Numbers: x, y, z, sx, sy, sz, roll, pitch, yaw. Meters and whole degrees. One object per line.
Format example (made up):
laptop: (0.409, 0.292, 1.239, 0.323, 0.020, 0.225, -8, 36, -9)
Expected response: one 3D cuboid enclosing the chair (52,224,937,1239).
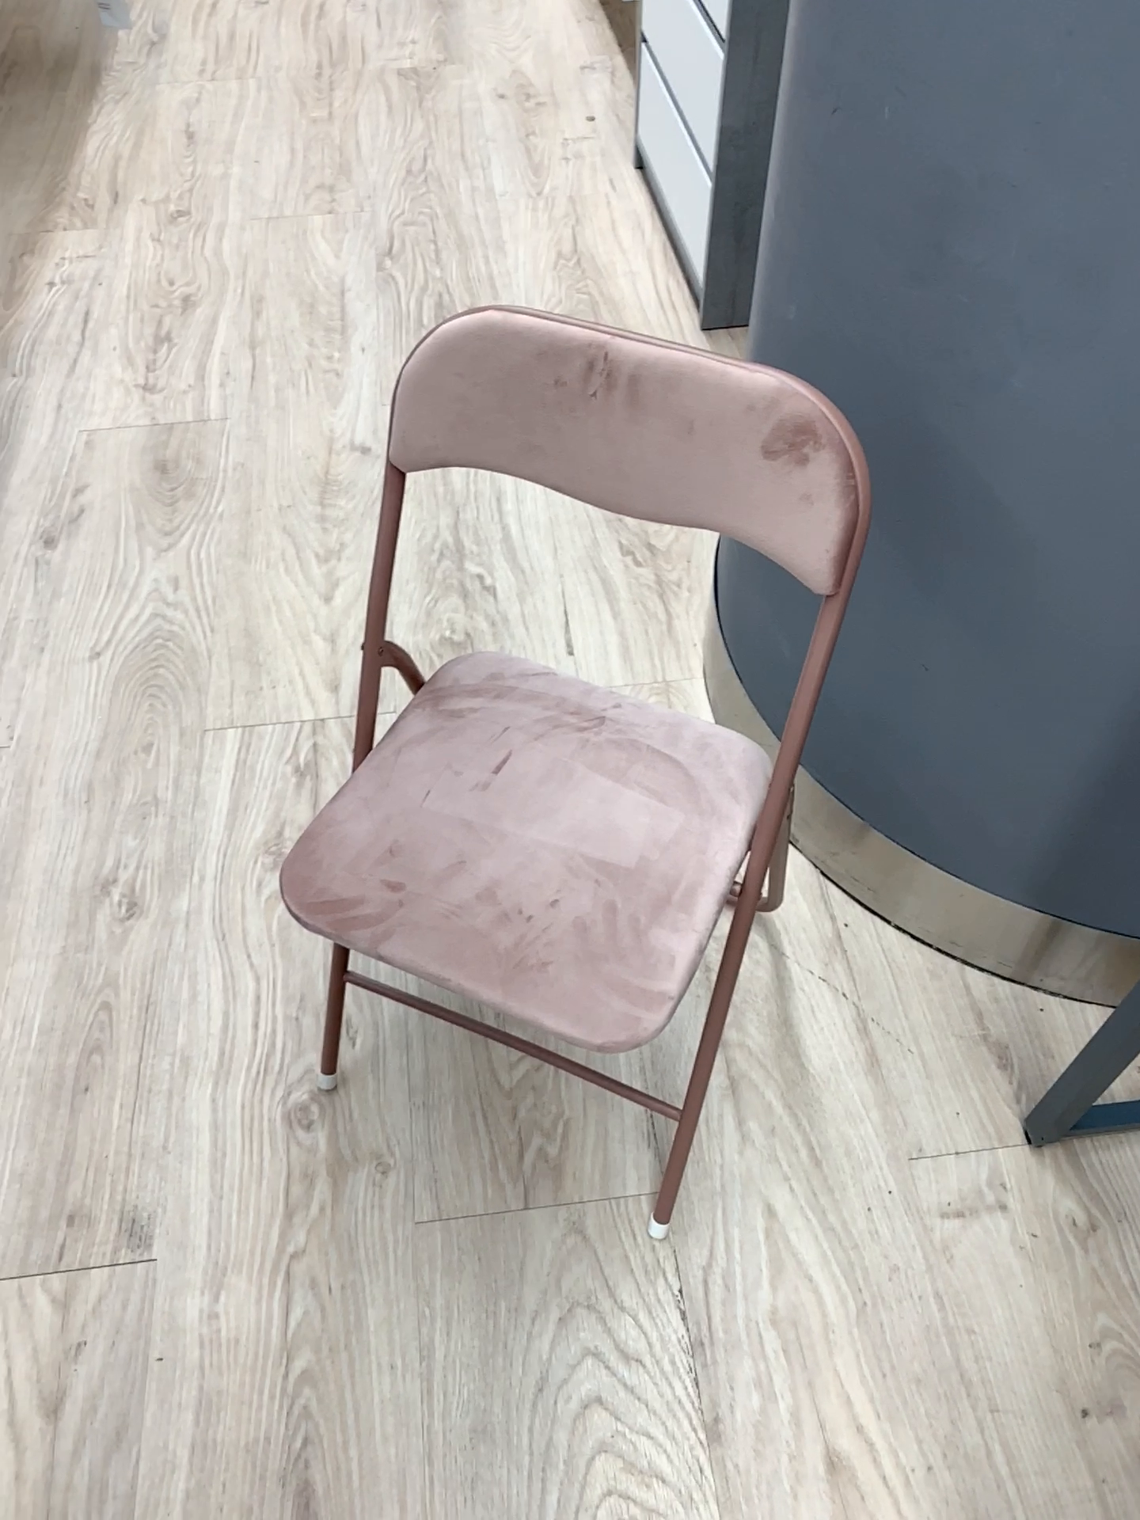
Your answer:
chair: (-0.019, 0.027, 1.123, 0.460, 0.797, 0.481, 17, 54, 13)
